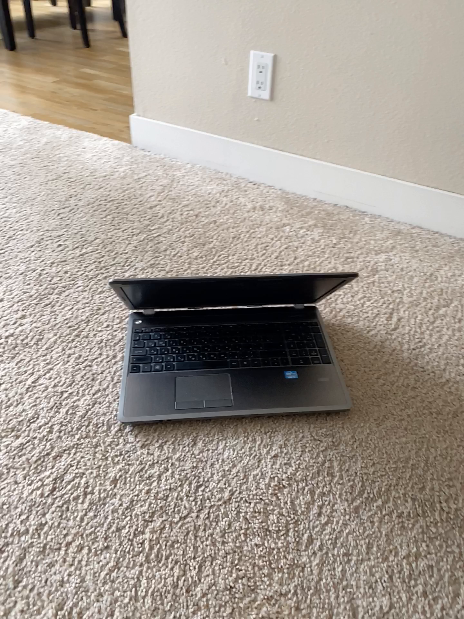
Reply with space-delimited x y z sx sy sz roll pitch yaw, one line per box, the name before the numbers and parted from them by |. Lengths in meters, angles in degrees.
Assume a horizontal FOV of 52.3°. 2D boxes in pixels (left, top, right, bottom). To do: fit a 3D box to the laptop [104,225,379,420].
laptop | 0.002 0.009 0.782 0.368 0.186 0.255 -2 40 -6
